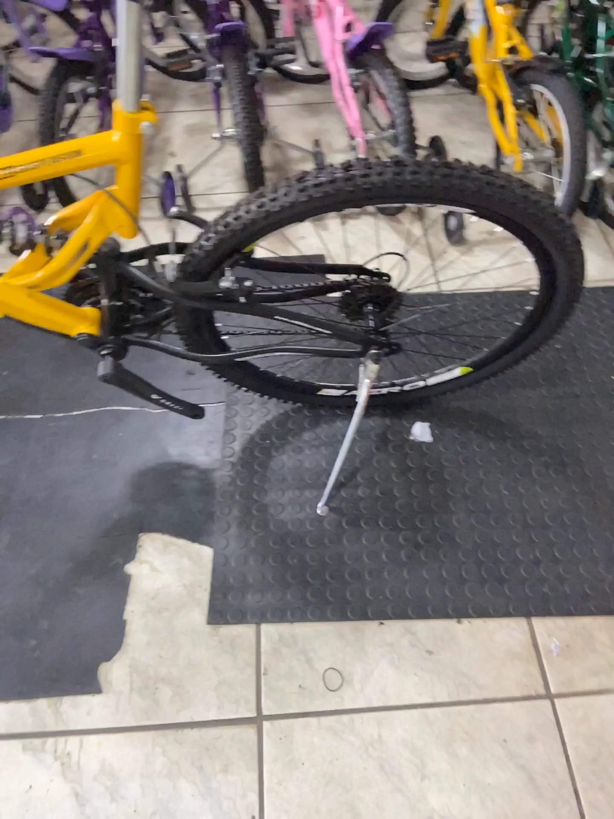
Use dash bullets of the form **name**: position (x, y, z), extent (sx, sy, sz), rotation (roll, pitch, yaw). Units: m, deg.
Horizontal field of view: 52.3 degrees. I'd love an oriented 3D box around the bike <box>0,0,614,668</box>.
- **bike**: position (-0.379, -0.208, 0.706), extent (1.520, 0.987, 0.477), rotation (-7, 53, -5)
